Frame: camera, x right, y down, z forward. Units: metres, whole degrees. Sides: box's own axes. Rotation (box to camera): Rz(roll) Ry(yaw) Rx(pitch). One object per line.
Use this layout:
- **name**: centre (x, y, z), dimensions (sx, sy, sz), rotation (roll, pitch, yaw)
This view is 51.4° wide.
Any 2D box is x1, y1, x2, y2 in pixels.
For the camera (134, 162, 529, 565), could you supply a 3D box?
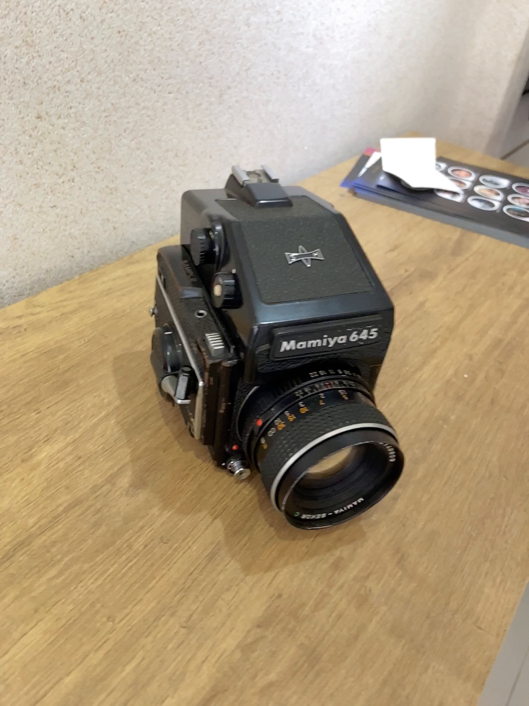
- **camera**: centre (0.015, -0.010, 0.279), dimensions (0.130, 0.109, 0.161), rotation (-8, 41, -19)
